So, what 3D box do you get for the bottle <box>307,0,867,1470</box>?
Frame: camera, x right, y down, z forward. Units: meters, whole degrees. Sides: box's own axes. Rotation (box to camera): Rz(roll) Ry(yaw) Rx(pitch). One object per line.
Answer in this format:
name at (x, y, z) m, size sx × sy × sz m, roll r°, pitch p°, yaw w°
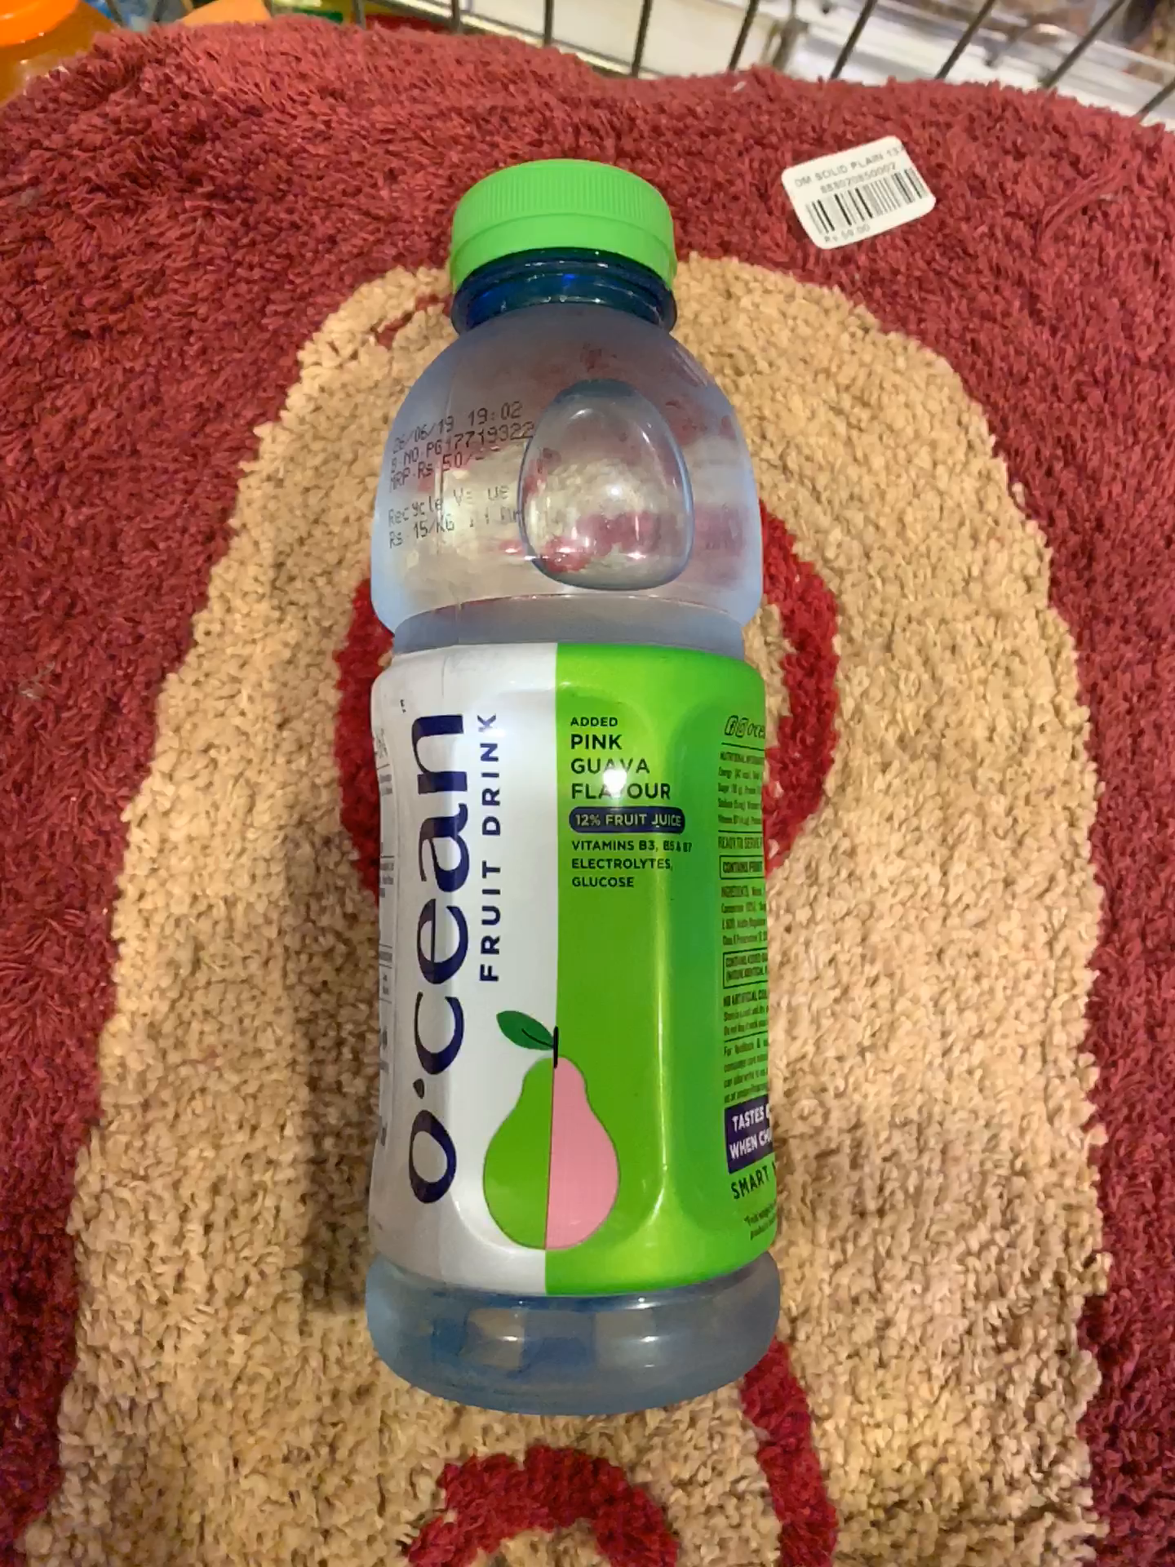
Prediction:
bottle at (0.004, -0.009, 0.213) m, size 0.080 × 0.070 × 0.210 m, roll -1°, pitch 86°, yaw 11°
